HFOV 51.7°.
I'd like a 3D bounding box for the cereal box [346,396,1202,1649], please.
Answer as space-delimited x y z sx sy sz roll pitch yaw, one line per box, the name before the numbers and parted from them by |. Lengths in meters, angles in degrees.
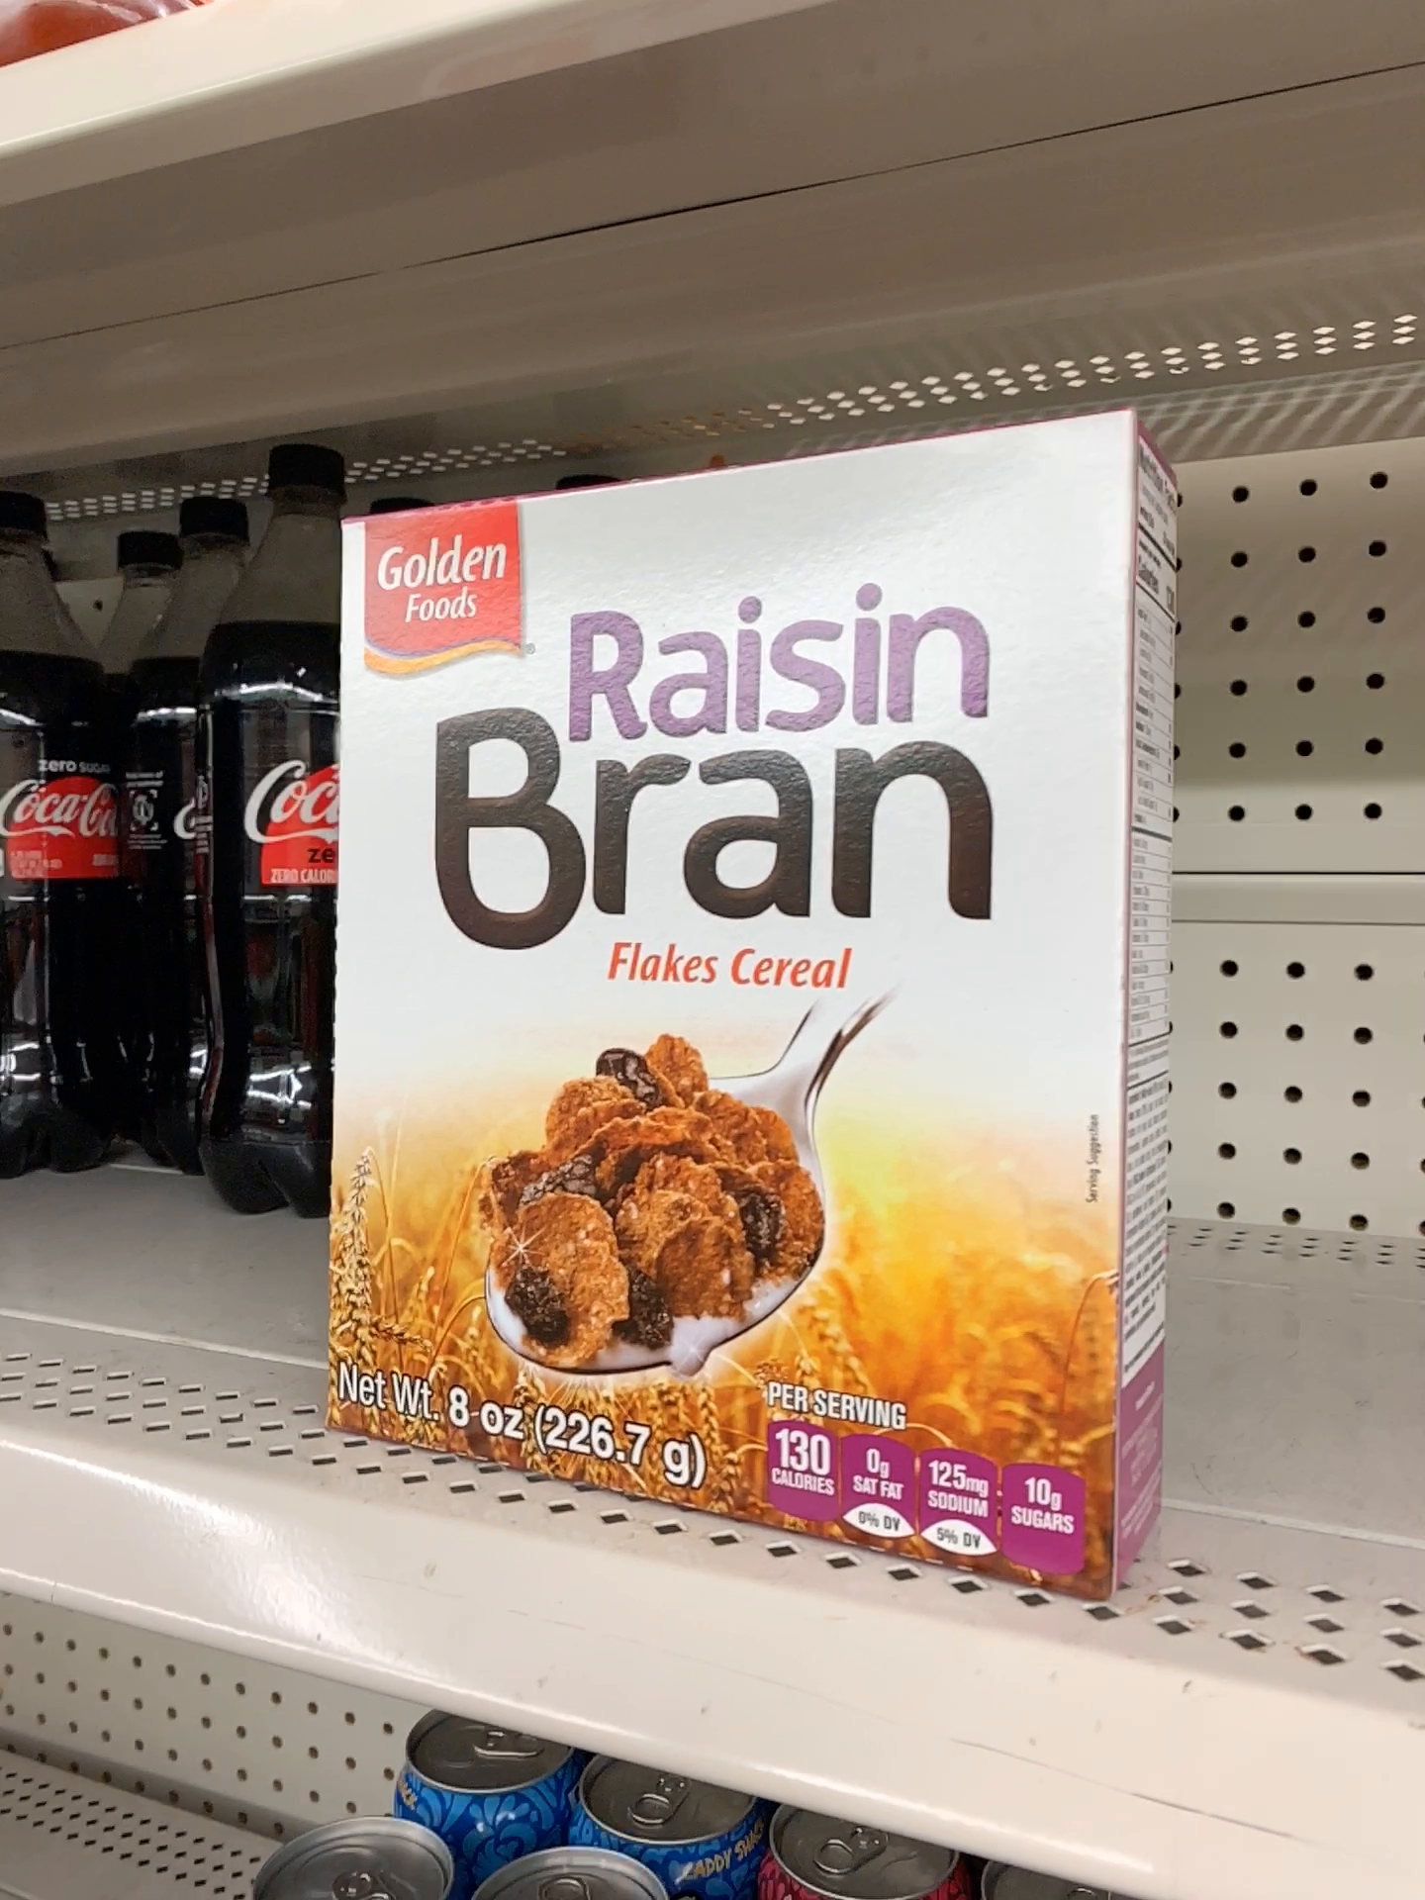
cereal box | 0.007 0.011 0.337 0.190 0.230 0.050 1 1 29
